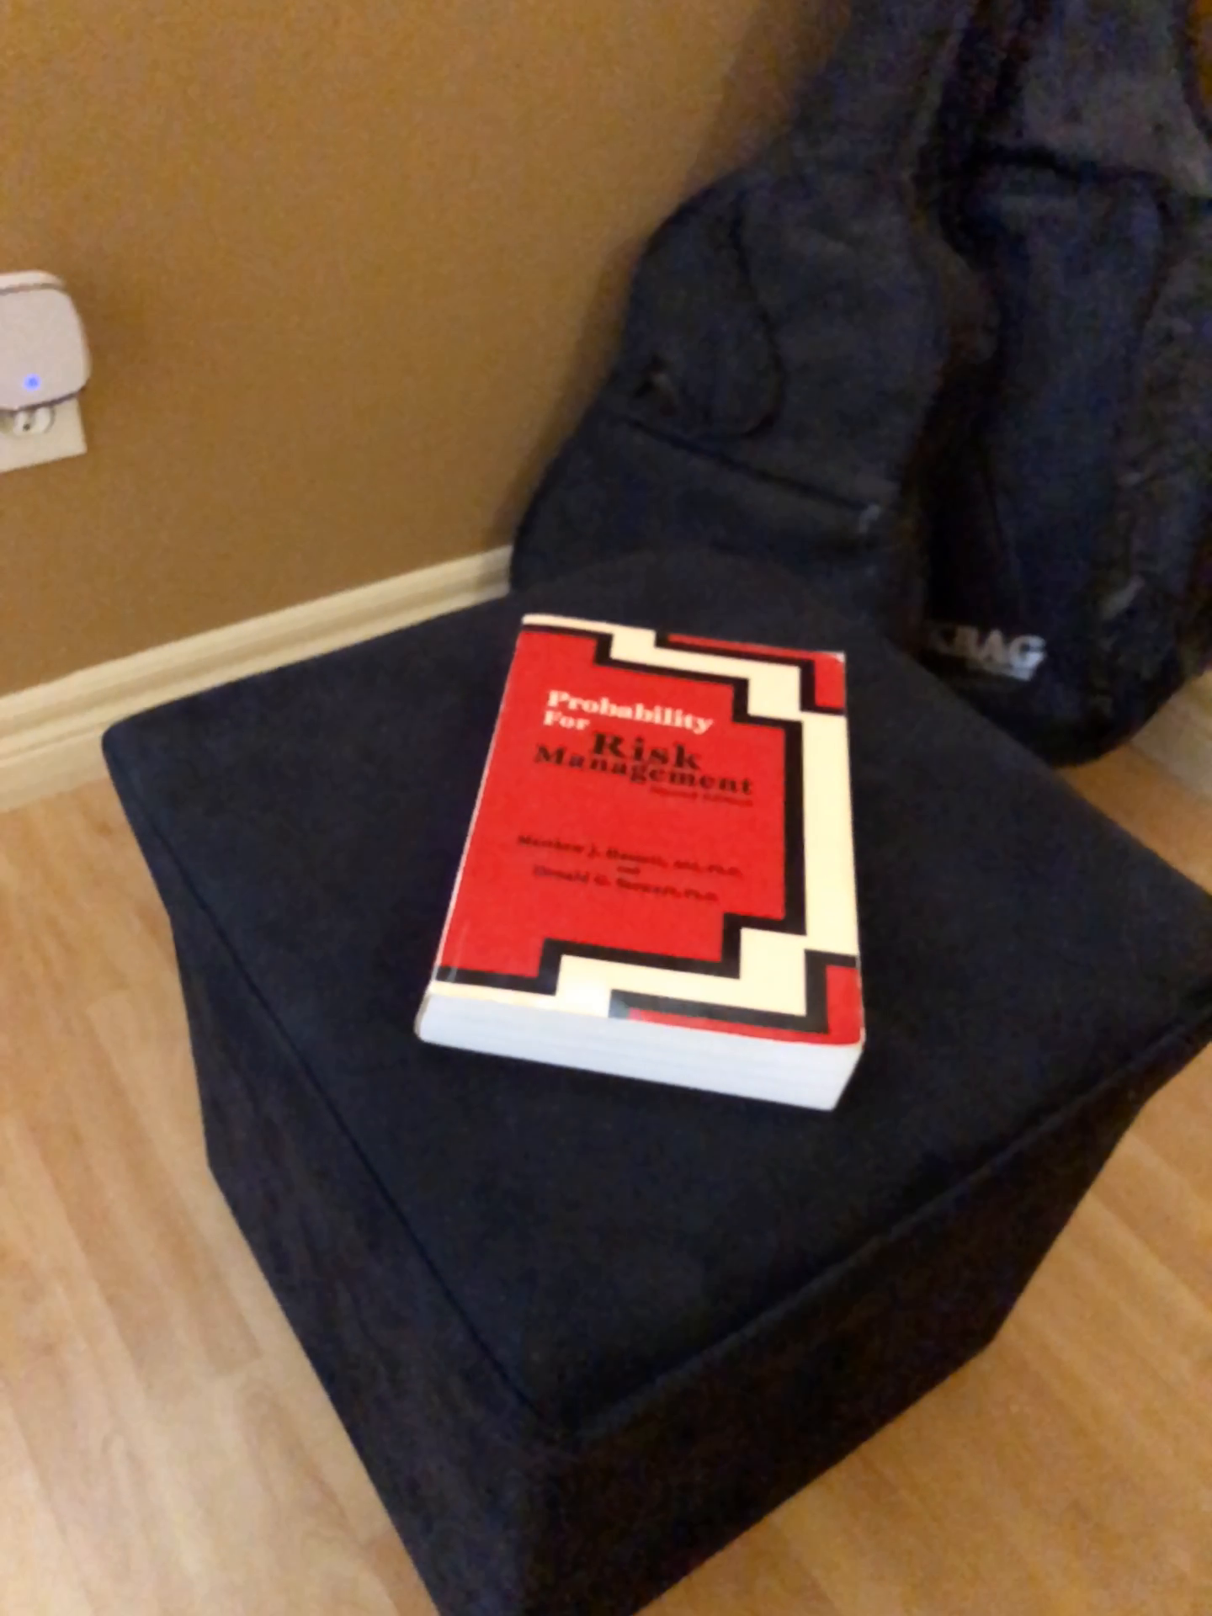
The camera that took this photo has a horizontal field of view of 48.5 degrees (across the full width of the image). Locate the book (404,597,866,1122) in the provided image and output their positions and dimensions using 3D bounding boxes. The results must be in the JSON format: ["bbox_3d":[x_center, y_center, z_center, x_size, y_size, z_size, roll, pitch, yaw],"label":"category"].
[{"bbox_3d":[0.020,0.007,0.525,0.150,0.041,0.216,9,43,1],"label":"book"}]
